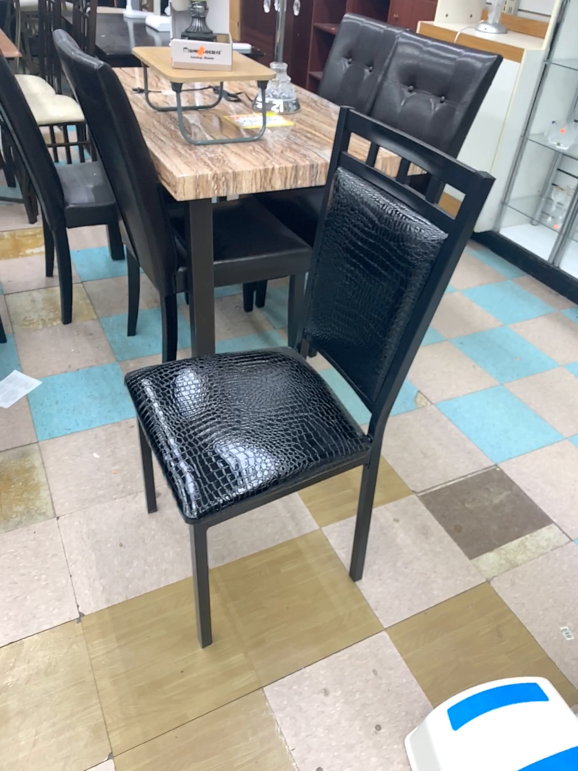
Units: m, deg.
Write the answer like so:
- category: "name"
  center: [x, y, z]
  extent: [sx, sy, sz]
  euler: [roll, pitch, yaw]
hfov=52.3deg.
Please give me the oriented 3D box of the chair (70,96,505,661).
- category: "chair"
  center: [-0.053, 0.002, 1.173]
  extent: [0.505, 0.943, 0.463]
  euler: [-14, 42, -22]

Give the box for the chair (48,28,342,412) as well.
- category: "chair"
  center: [-0.281, -0.511, 1.797]
  extent: [0.595, 0.923, 0.533]
  euler: [-16, 42, -24]

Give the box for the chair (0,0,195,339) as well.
- category: "chair"
  center: [-0.802, -0.844, 2.251]
  extent: [0.675, 1.072, 0.563]
  euler: [-16, 42, -24]
